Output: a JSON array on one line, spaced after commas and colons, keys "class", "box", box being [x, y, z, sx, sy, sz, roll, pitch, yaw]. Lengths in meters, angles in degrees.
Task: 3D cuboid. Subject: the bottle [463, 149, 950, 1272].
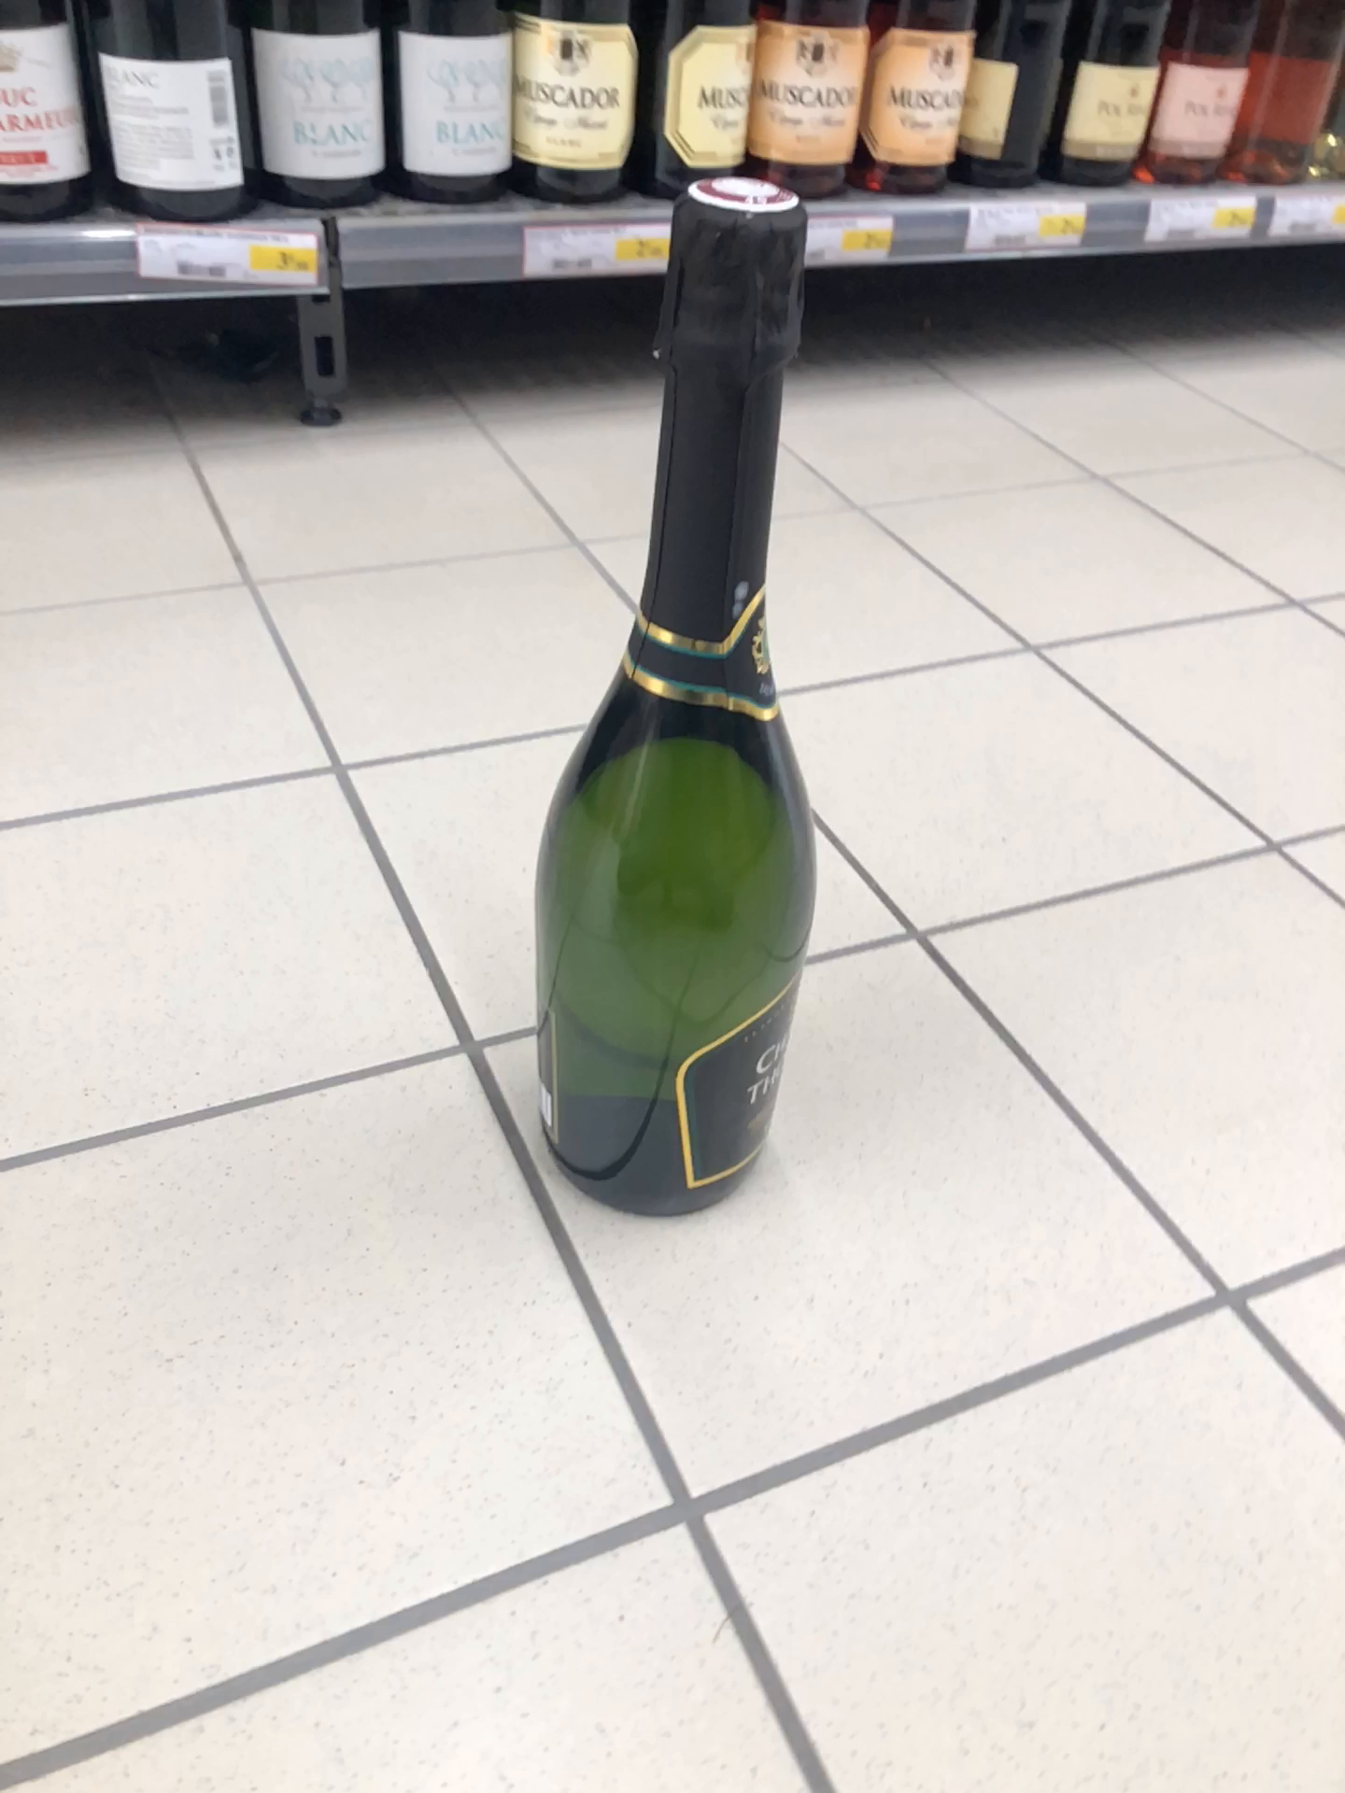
[{"class": "bottle", "box": [0.000, -0.037, 0.436, 0.090, 0.308, 0.091, 4, 37, -3]}]
